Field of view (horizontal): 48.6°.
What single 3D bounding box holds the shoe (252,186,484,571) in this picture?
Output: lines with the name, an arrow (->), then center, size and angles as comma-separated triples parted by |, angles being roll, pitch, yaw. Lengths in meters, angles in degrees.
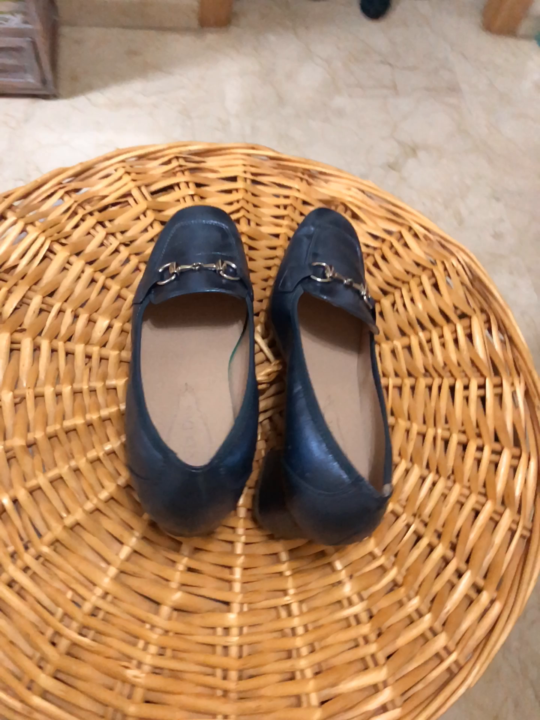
shoe -> 0.052, 0.000, 0.414 | 0.100, 0.090, 0.250 | 12, 47, -11

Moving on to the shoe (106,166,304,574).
shoe -> -0.043, -0.006, 0.399 | 0.090, 0.090, 0.260 | 8, 50, -13
